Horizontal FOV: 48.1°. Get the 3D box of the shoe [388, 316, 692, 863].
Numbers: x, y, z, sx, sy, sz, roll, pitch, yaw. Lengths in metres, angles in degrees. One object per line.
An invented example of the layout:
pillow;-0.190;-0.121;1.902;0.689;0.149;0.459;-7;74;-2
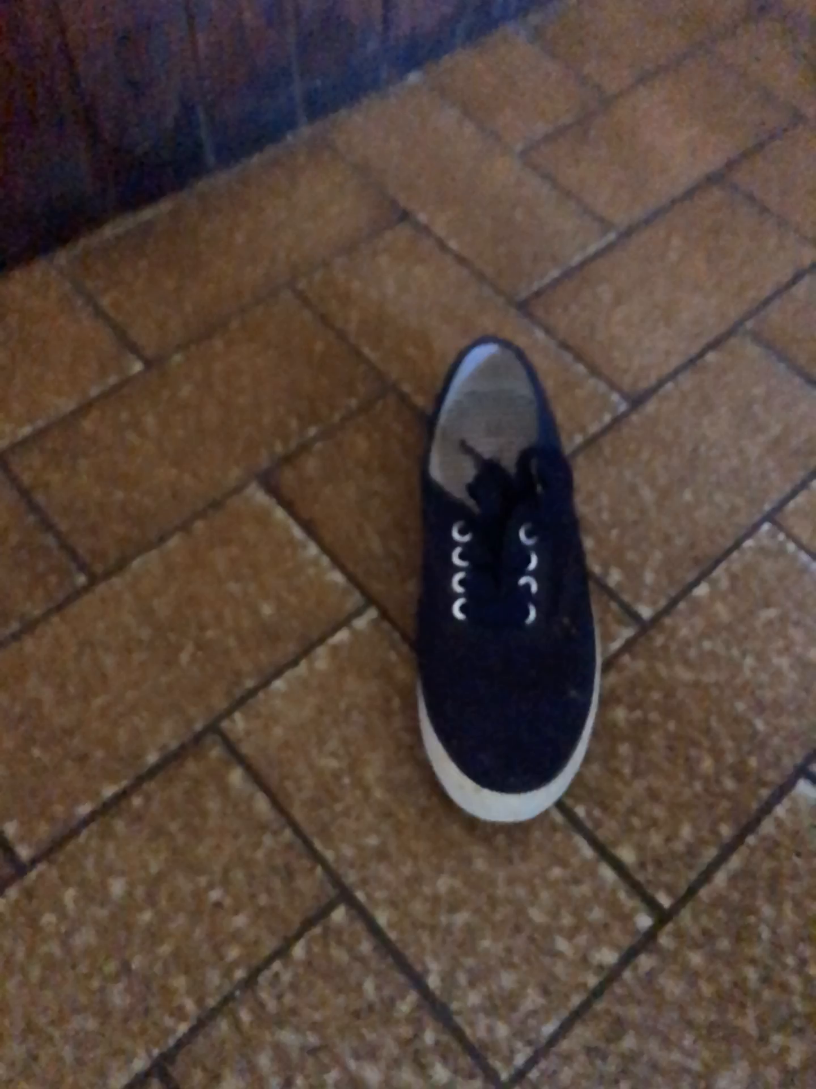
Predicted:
shoe;0.046;0.012;0.418;0.100;0.070;0.241;-1;62;-4
